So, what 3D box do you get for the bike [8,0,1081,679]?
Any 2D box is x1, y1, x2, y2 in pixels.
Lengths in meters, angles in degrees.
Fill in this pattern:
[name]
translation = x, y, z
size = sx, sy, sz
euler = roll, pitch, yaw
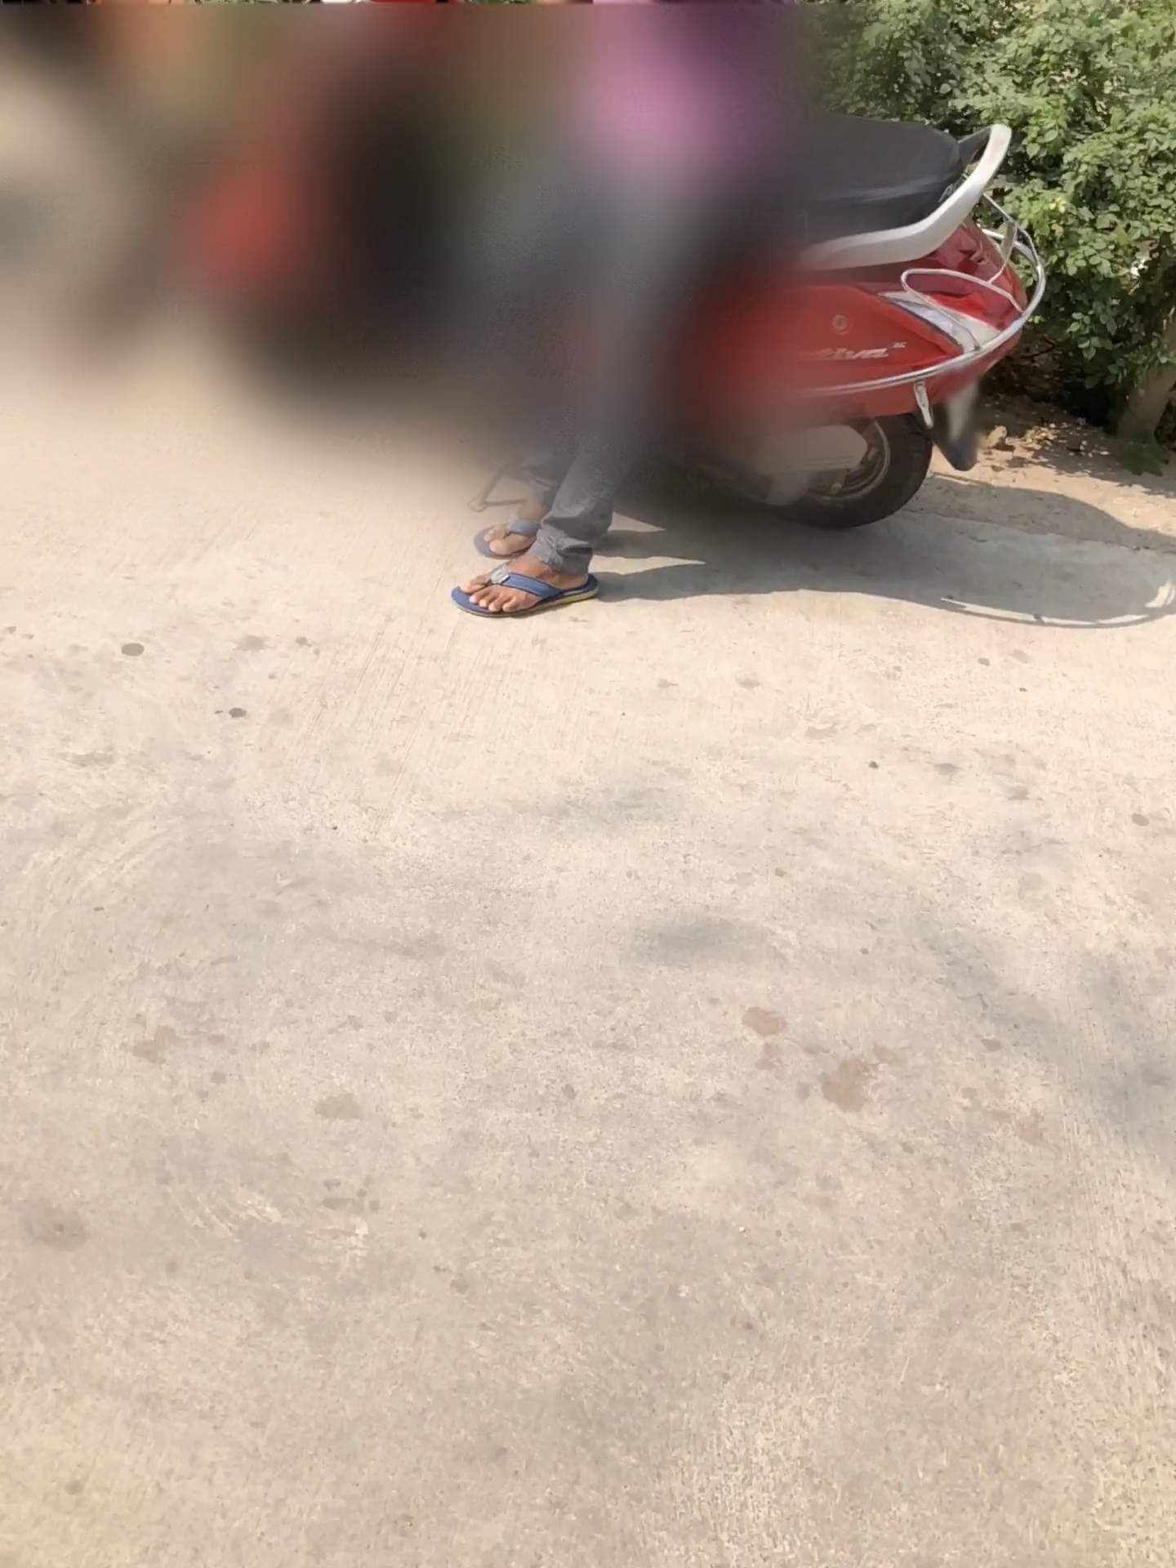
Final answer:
[bike]
translation = -0.090, -1.022, 2.390
size = 1.581, 1.157, 0.626
euler = 15, 40, 11
